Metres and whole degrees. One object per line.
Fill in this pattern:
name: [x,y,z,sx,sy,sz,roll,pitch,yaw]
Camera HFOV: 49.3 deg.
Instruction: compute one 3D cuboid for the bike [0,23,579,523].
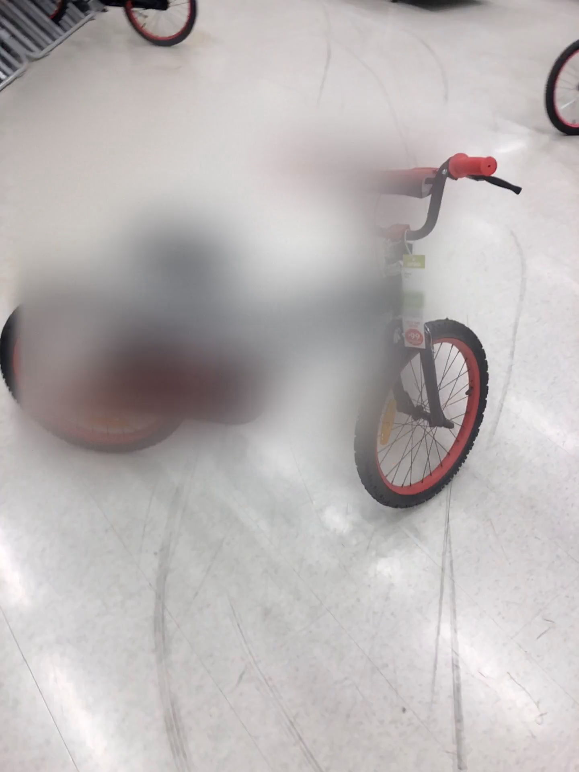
bike: [-0.071,-0.209,1.487,1.246,0.924,0.628,1,44,-4]
